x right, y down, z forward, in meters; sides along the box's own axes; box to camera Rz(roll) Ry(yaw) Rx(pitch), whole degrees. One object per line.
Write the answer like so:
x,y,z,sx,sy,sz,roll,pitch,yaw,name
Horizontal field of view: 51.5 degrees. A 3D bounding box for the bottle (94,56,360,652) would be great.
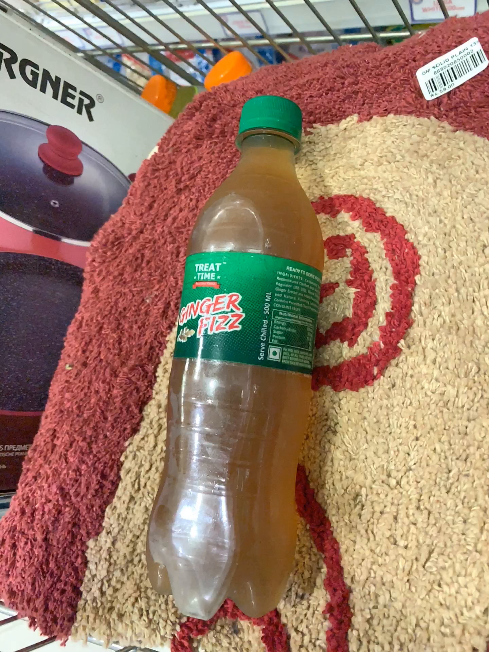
-0.003,0.010,0.230,0.070,0.070,0.220,4,85,30,bottle
